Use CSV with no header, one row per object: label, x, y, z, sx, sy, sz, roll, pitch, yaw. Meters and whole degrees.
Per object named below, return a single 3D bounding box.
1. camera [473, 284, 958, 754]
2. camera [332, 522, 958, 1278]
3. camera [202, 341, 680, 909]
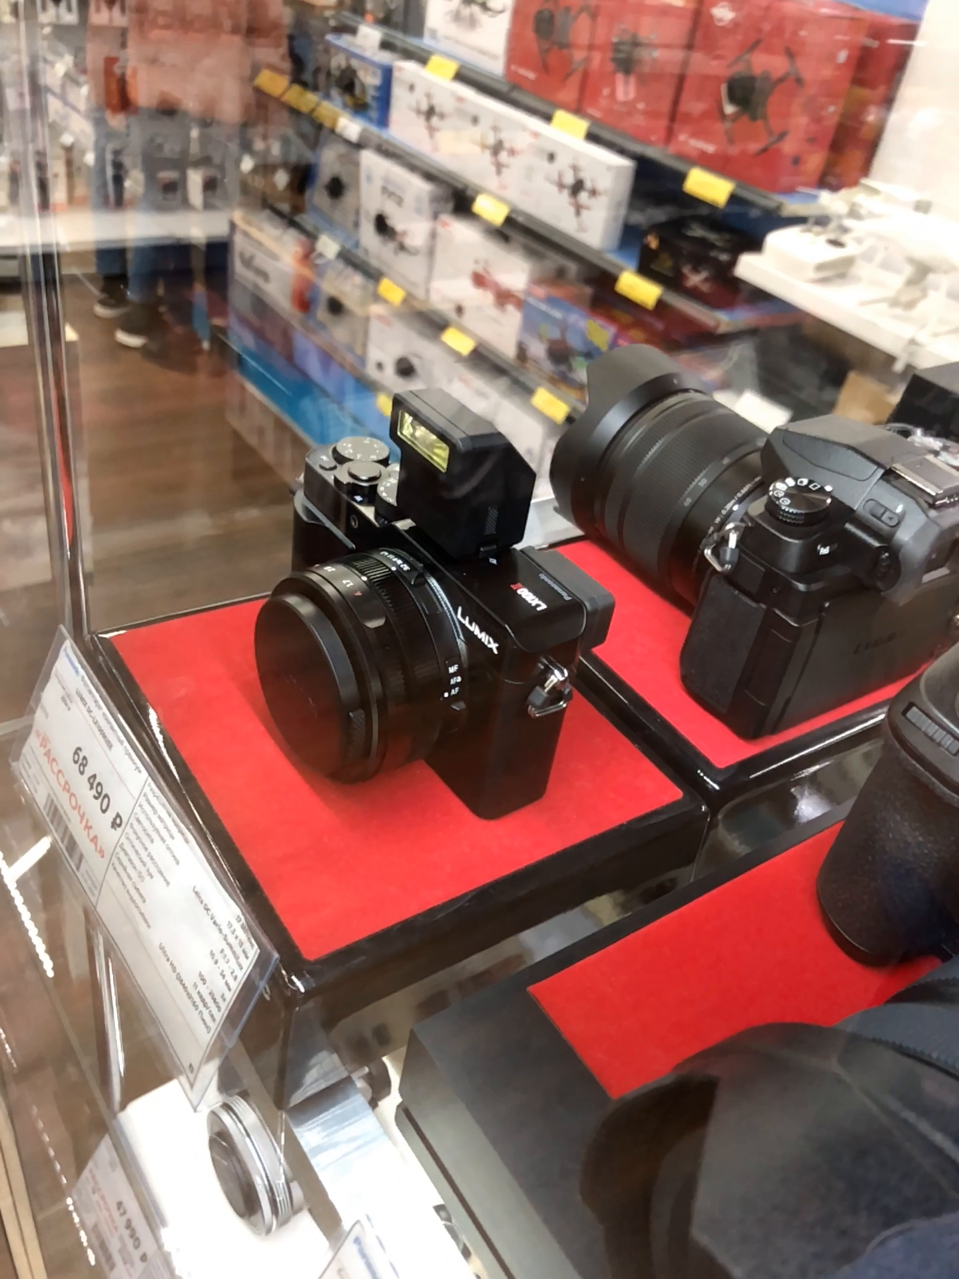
camera,0.084,-0.052,0.363,0.099,0.081,0.149,-14,43,-31
camera,0.120,0.092,0.189,0.226,0.114,0.175,-17,44,-33
camera,-0.021,-0.011,0.298,0.069,0.098,0.117,-17,44,-33
